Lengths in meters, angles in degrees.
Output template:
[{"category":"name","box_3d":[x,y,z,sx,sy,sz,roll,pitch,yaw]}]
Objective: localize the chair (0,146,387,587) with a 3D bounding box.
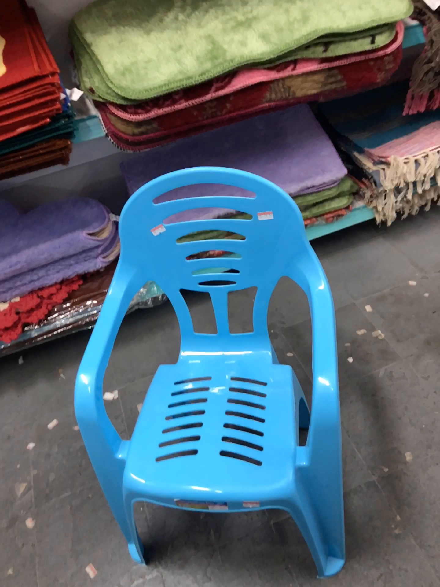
[{"category":"chair","box_3d":[-0.017,0.133,0.704,0.400,0.517,0.392,-1,44,10]}]
